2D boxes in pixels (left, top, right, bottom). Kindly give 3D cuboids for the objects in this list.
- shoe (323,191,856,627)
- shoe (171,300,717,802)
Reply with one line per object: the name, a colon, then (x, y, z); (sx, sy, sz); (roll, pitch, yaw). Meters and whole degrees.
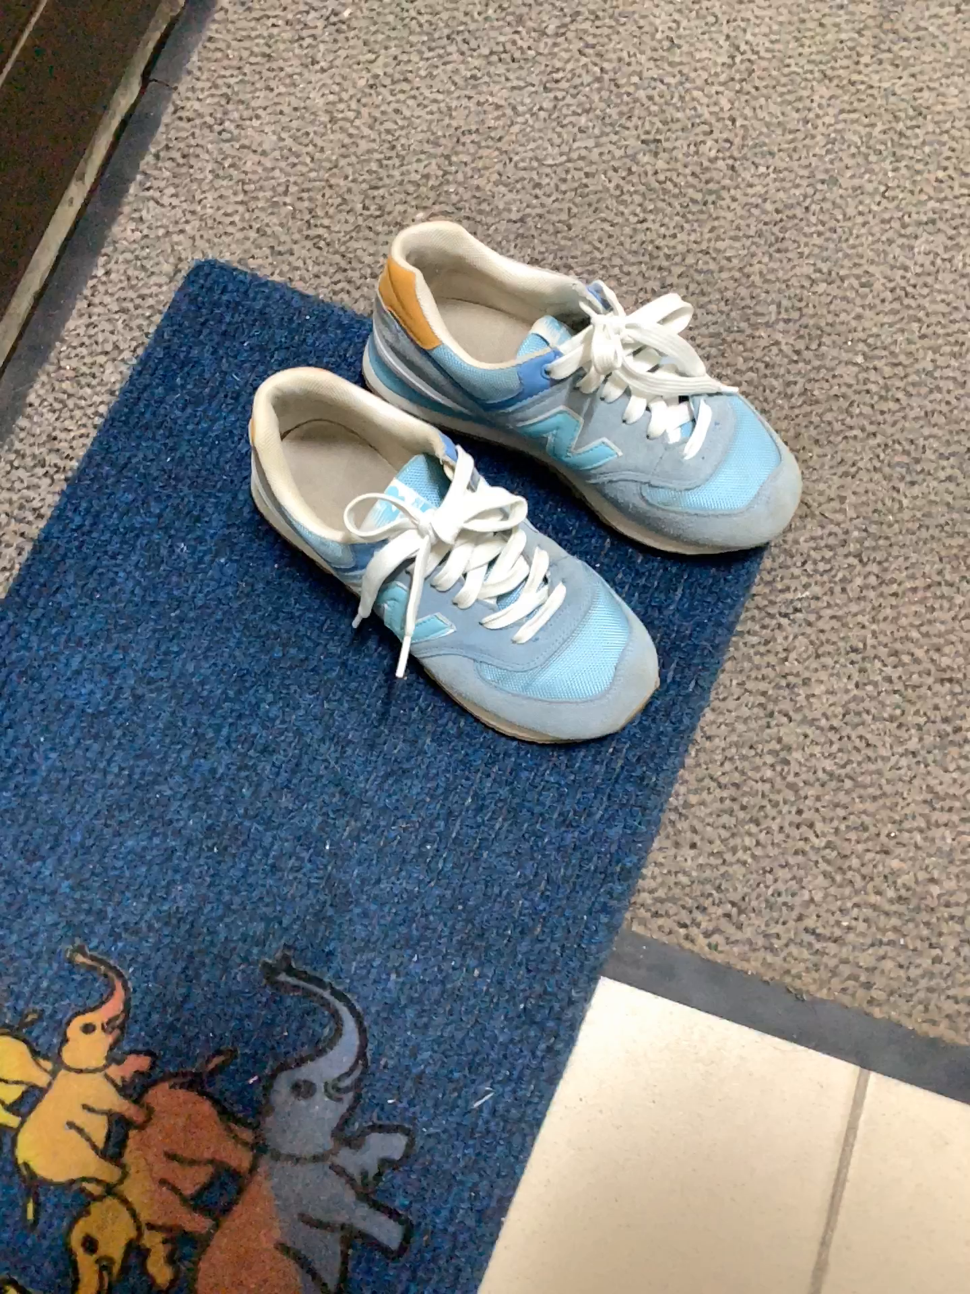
shoe: (0.051, -0.123, 0.547); (0.250, 0.120, 0.090); (30, 81, 8)
shoe: (-0.025, -0.042, 0.524); (0.260, 0.140, 0.080); (38, 75, 10)
